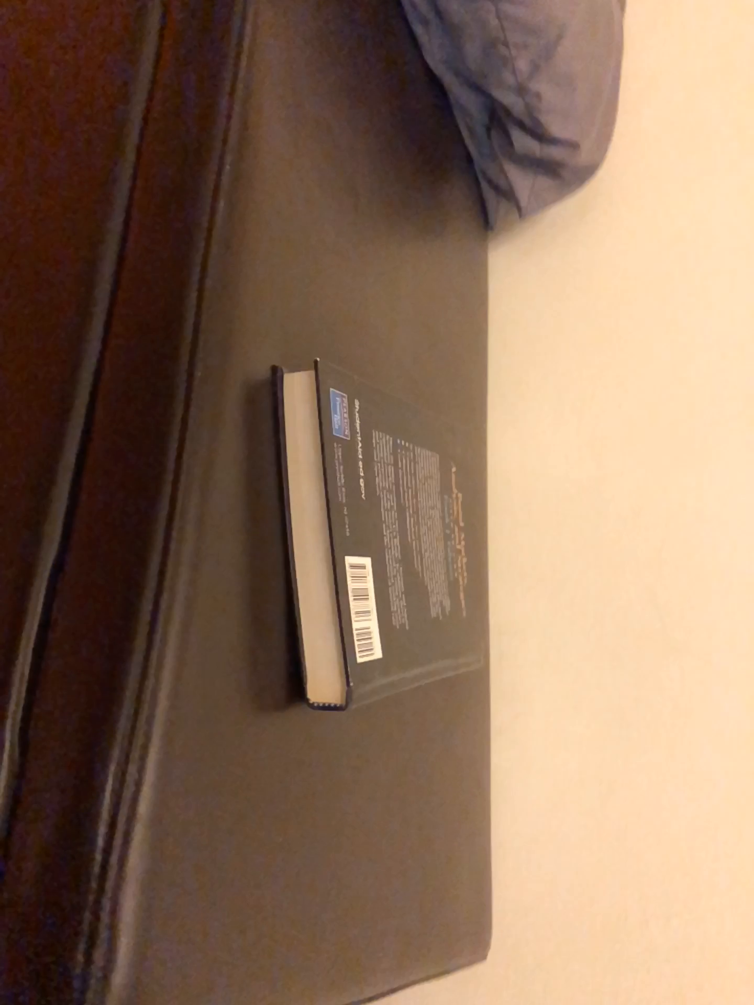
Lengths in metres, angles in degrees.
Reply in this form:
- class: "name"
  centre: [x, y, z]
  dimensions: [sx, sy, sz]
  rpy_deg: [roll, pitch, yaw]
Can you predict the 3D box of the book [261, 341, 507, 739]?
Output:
- class: "book"
  centre: [0.019, 0.029, 0.542]
  dimensions: [0.261, 0.040, 0.200]
  rpy_deg: [12, 72, -64]
